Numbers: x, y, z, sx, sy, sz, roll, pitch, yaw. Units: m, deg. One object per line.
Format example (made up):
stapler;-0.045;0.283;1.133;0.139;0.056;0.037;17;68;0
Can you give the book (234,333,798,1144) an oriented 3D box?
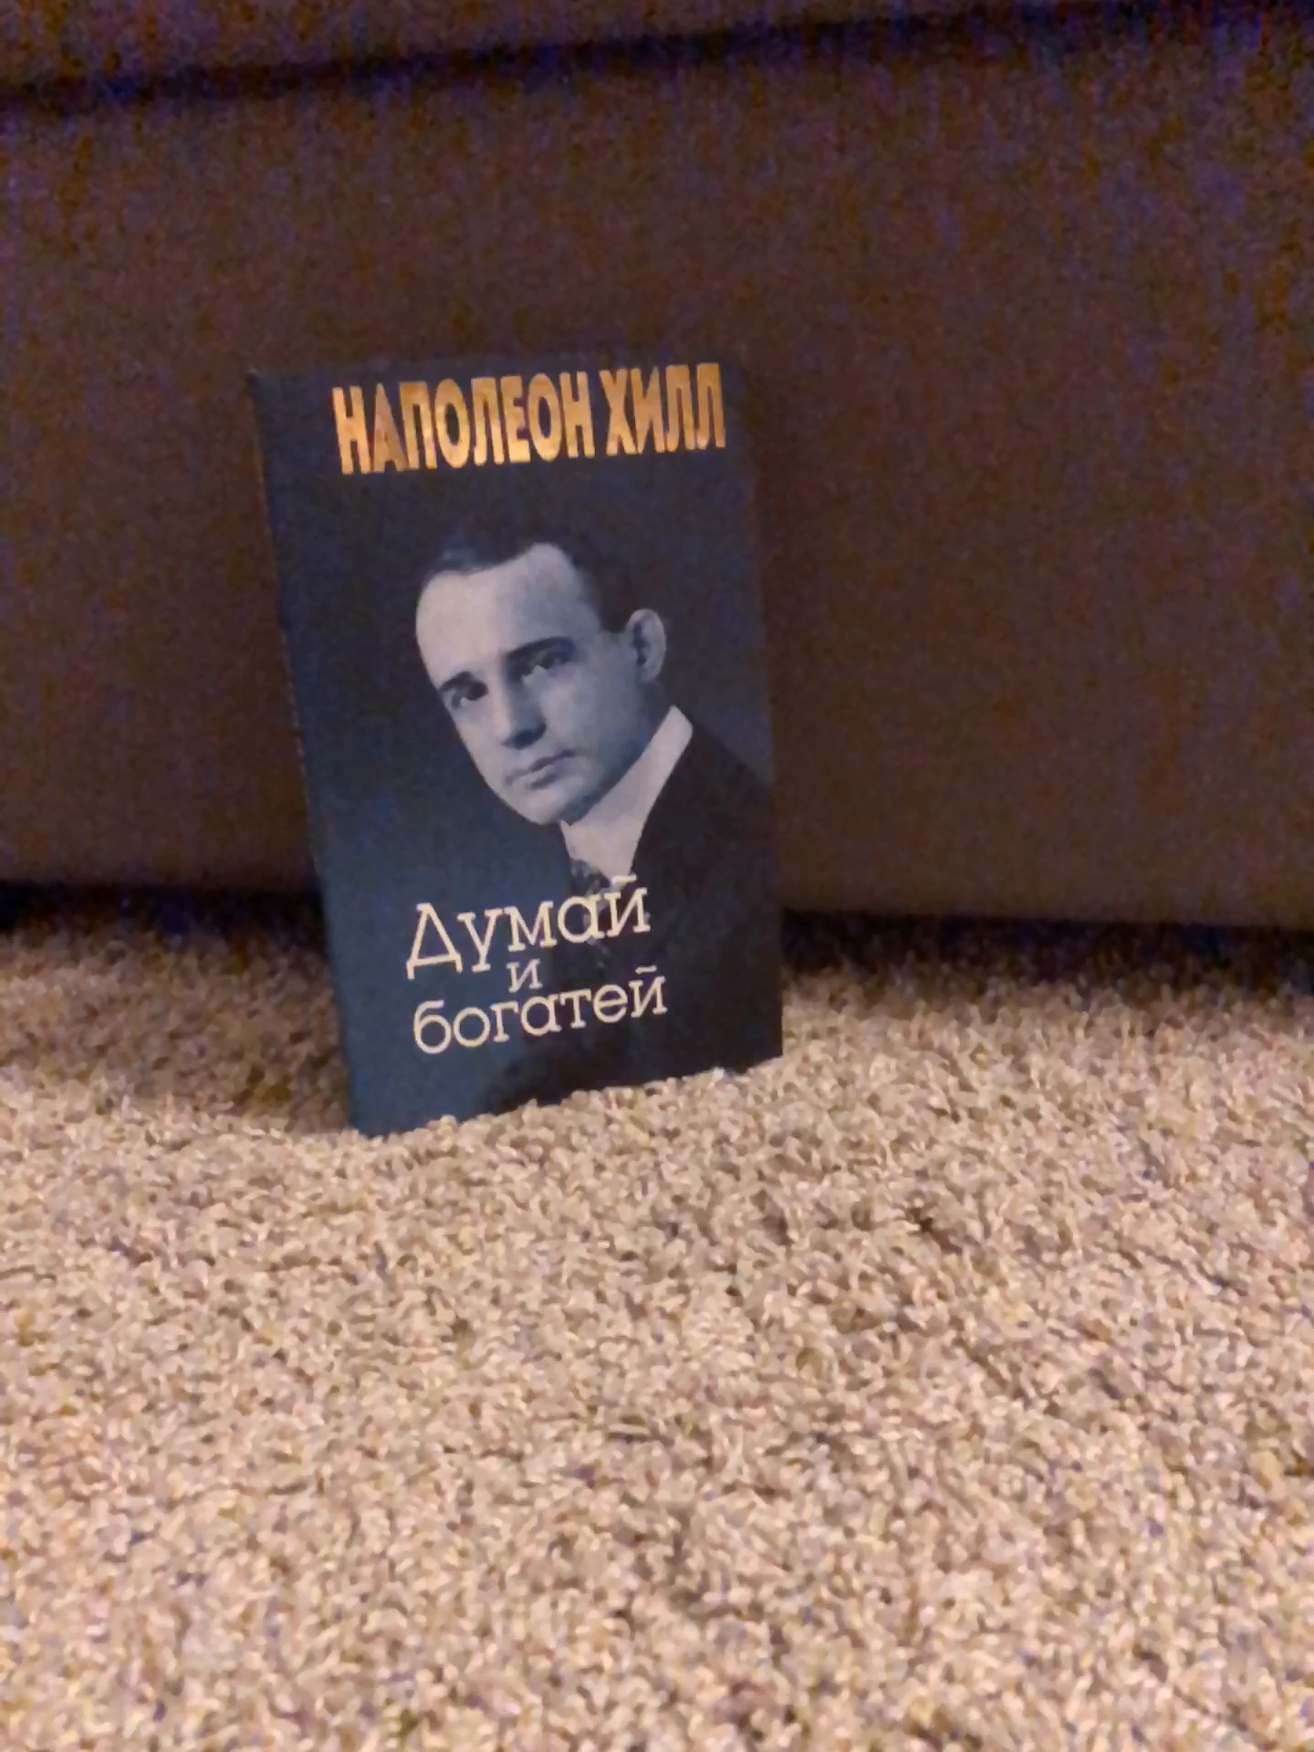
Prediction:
book;-0.033;-0.038;0.390;0.132;0.198;0.030;-7;13;-17
